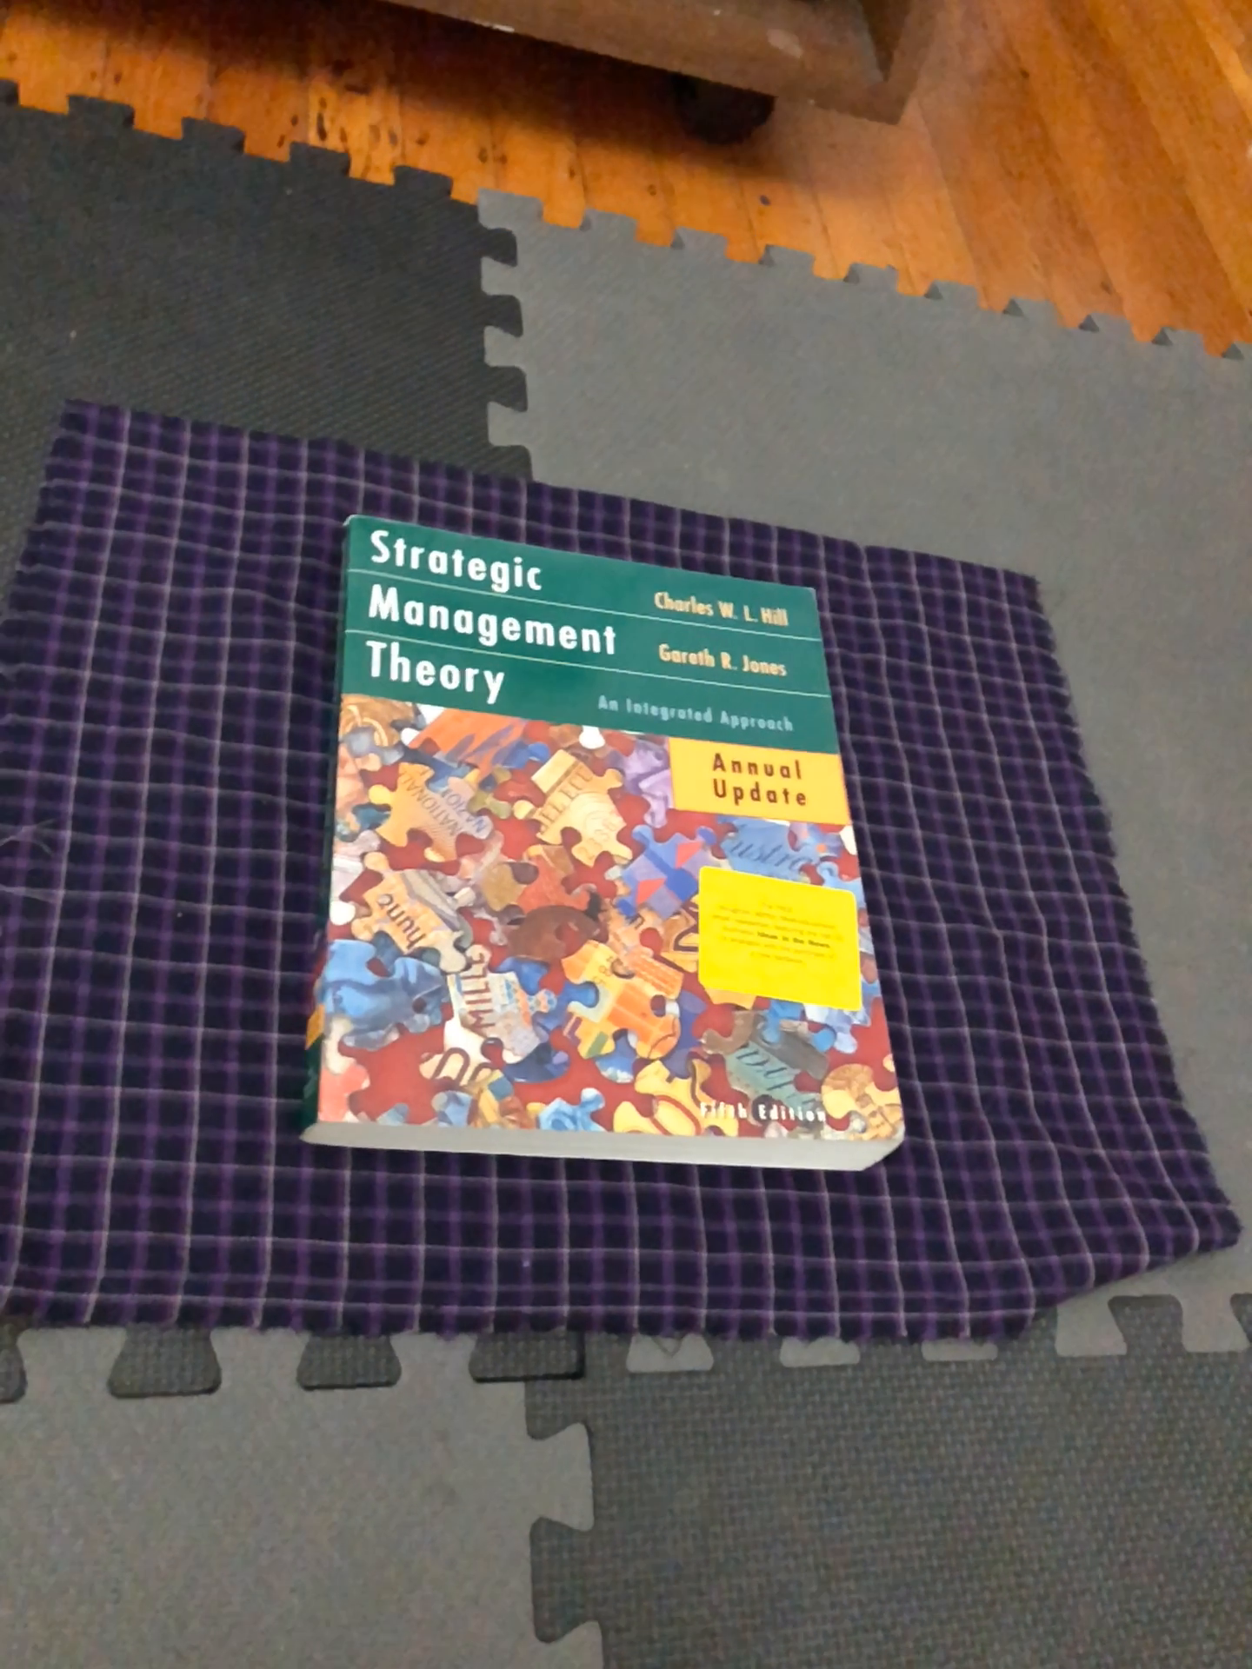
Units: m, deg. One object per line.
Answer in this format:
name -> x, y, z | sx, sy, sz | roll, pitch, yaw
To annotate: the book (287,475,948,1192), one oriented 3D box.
book -> -0.005, -0.006, 0.553 | 0.230, 0.040, 0.281 | 6, 60, -15
